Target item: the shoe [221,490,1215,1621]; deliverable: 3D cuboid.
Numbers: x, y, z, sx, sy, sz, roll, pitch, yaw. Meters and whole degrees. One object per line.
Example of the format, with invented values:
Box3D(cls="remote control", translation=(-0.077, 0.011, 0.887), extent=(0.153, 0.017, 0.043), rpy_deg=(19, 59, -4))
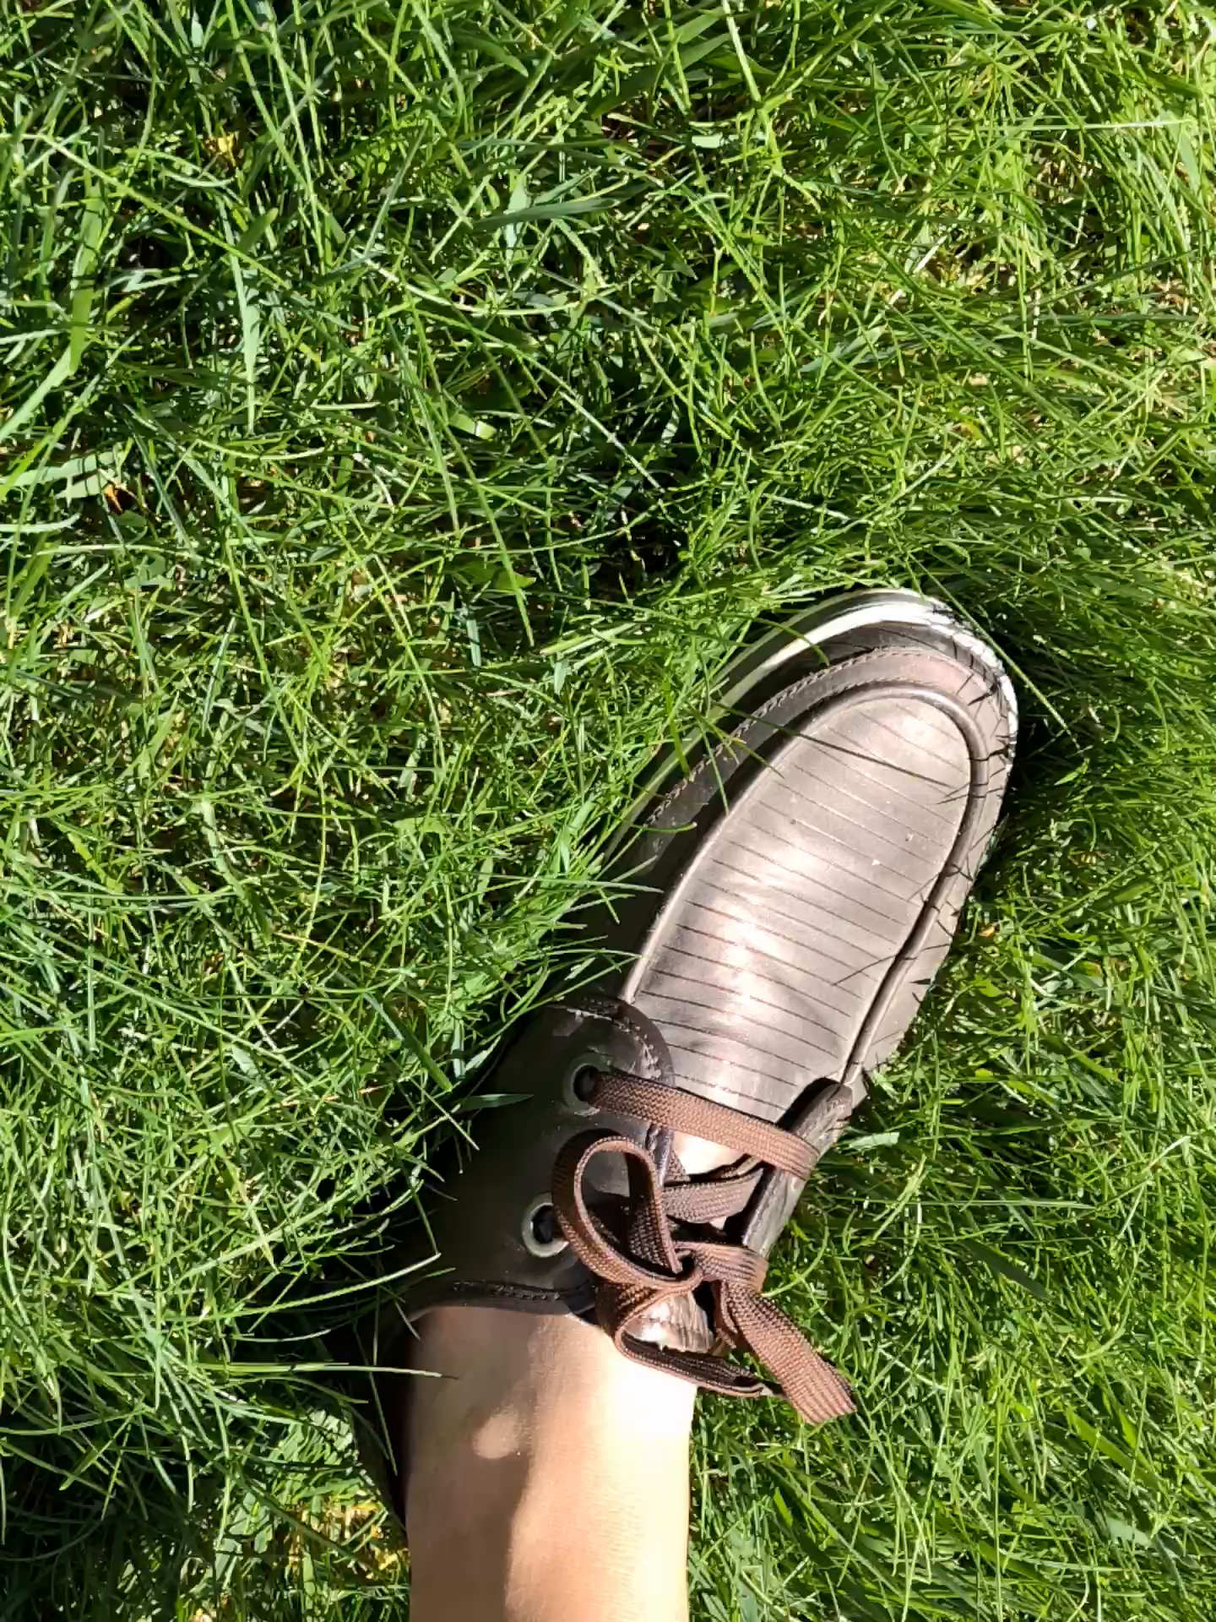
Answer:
Box3D(cls="shoe", translation=(0.028, 0.078, 0.346), extent=(0.110, 0.107, 0.293), rpy_deg=(29, 101, -14))
